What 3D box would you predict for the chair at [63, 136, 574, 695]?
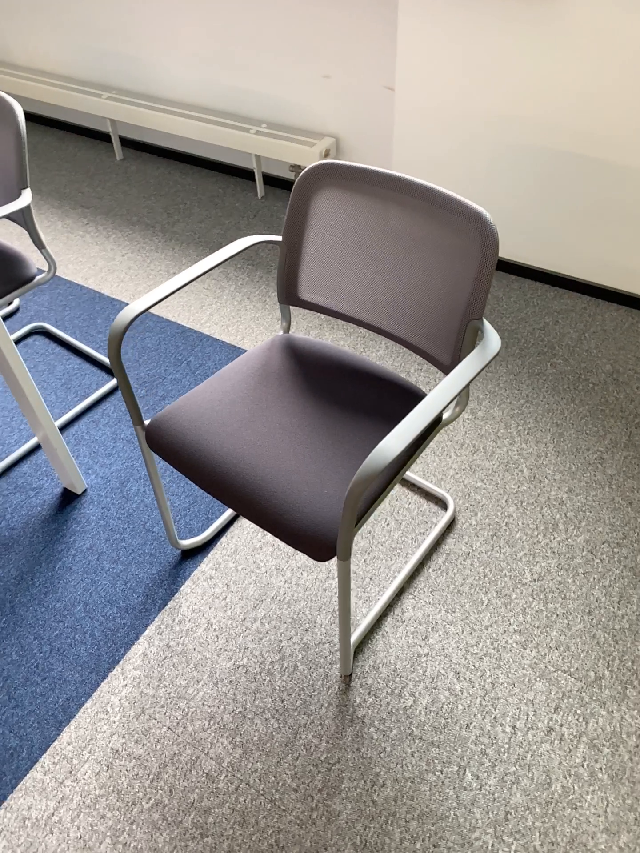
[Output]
[{"bbox_3d":[0.015,-0.016,1.209,0.531,0.727,0.522,31,55,27],"label":"chair"}]
